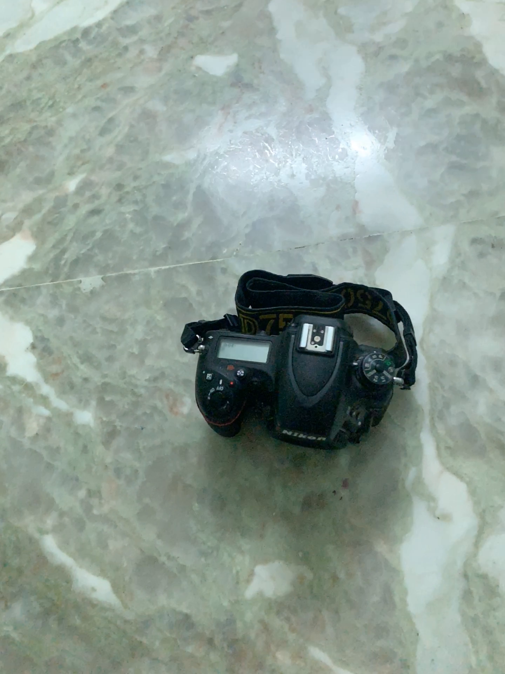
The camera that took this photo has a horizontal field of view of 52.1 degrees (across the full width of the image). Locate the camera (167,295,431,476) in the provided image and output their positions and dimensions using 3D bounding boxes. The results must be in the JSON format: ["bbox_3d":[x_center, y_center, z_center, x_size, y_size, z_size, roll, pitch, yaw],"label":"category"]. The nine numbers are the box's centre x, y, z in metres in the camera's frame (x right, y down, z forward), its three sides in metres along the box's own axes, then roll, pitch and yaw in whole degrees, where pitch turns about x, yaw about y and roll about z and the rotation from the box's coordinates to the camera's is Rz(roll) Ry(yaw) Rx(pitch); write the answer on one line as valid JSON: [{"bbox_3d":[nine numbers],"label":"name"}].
[{"bbox_3d":[0.034,0.037,0.361,0.150,0.100,0.080,7,69,9],"label":"camera"}]
